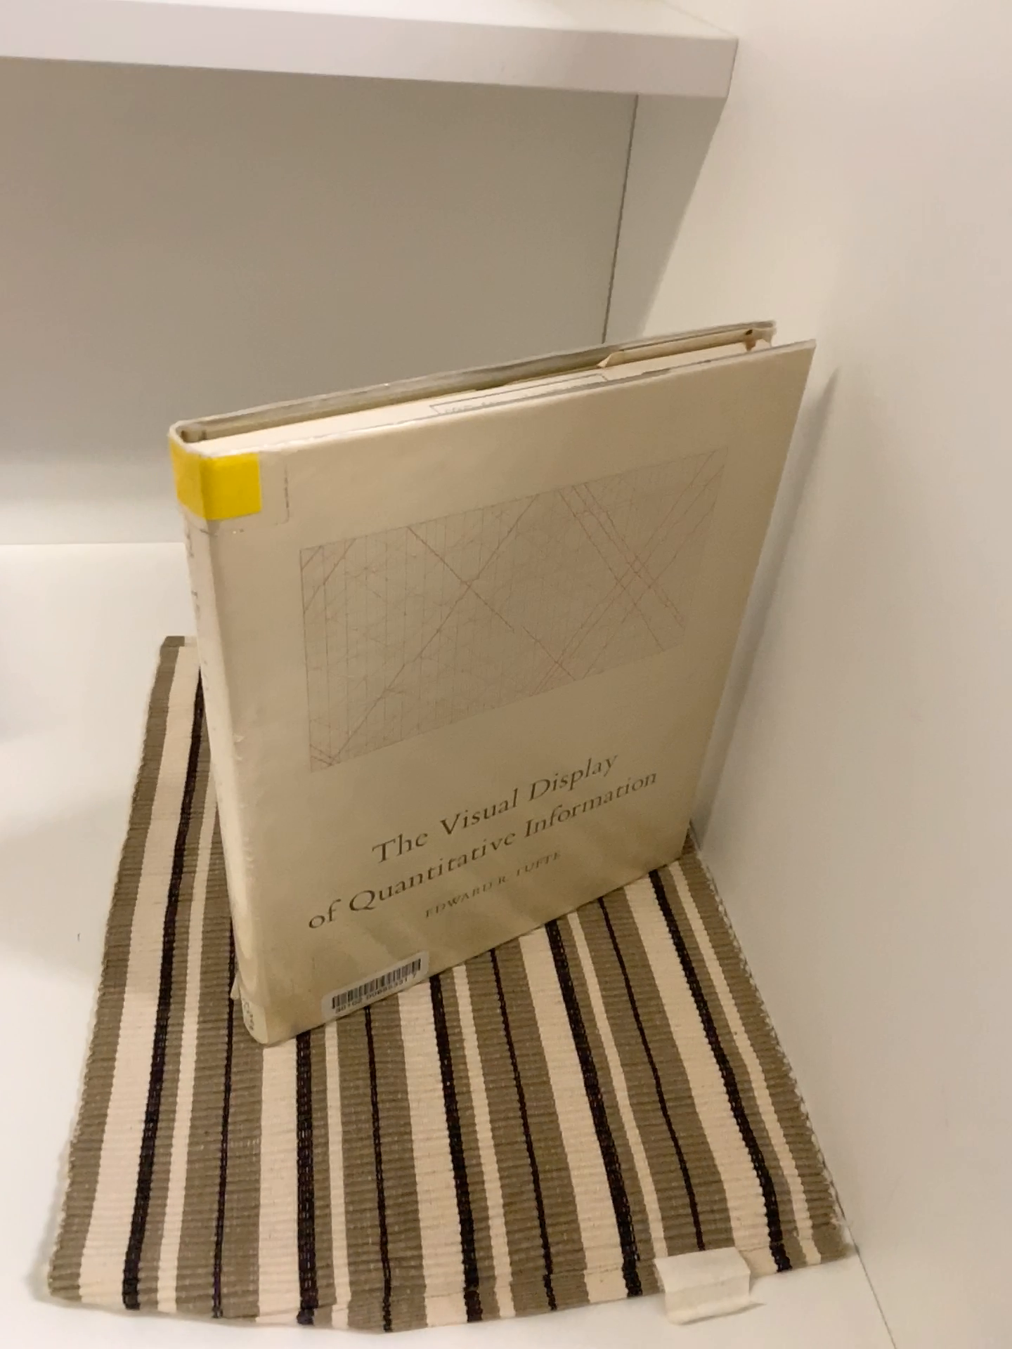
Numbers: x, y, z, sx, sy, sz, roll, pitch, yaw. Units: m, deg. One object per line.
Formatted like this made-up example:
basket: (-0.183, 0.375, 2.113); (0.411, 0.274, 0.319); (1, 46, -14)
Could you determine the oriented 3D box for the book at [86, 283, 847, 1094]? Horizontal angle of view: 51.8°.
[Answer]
book: (-0.006, 0.012, 0.410); (0.251, 0.287, 0.040); (-18, 43, -27)
